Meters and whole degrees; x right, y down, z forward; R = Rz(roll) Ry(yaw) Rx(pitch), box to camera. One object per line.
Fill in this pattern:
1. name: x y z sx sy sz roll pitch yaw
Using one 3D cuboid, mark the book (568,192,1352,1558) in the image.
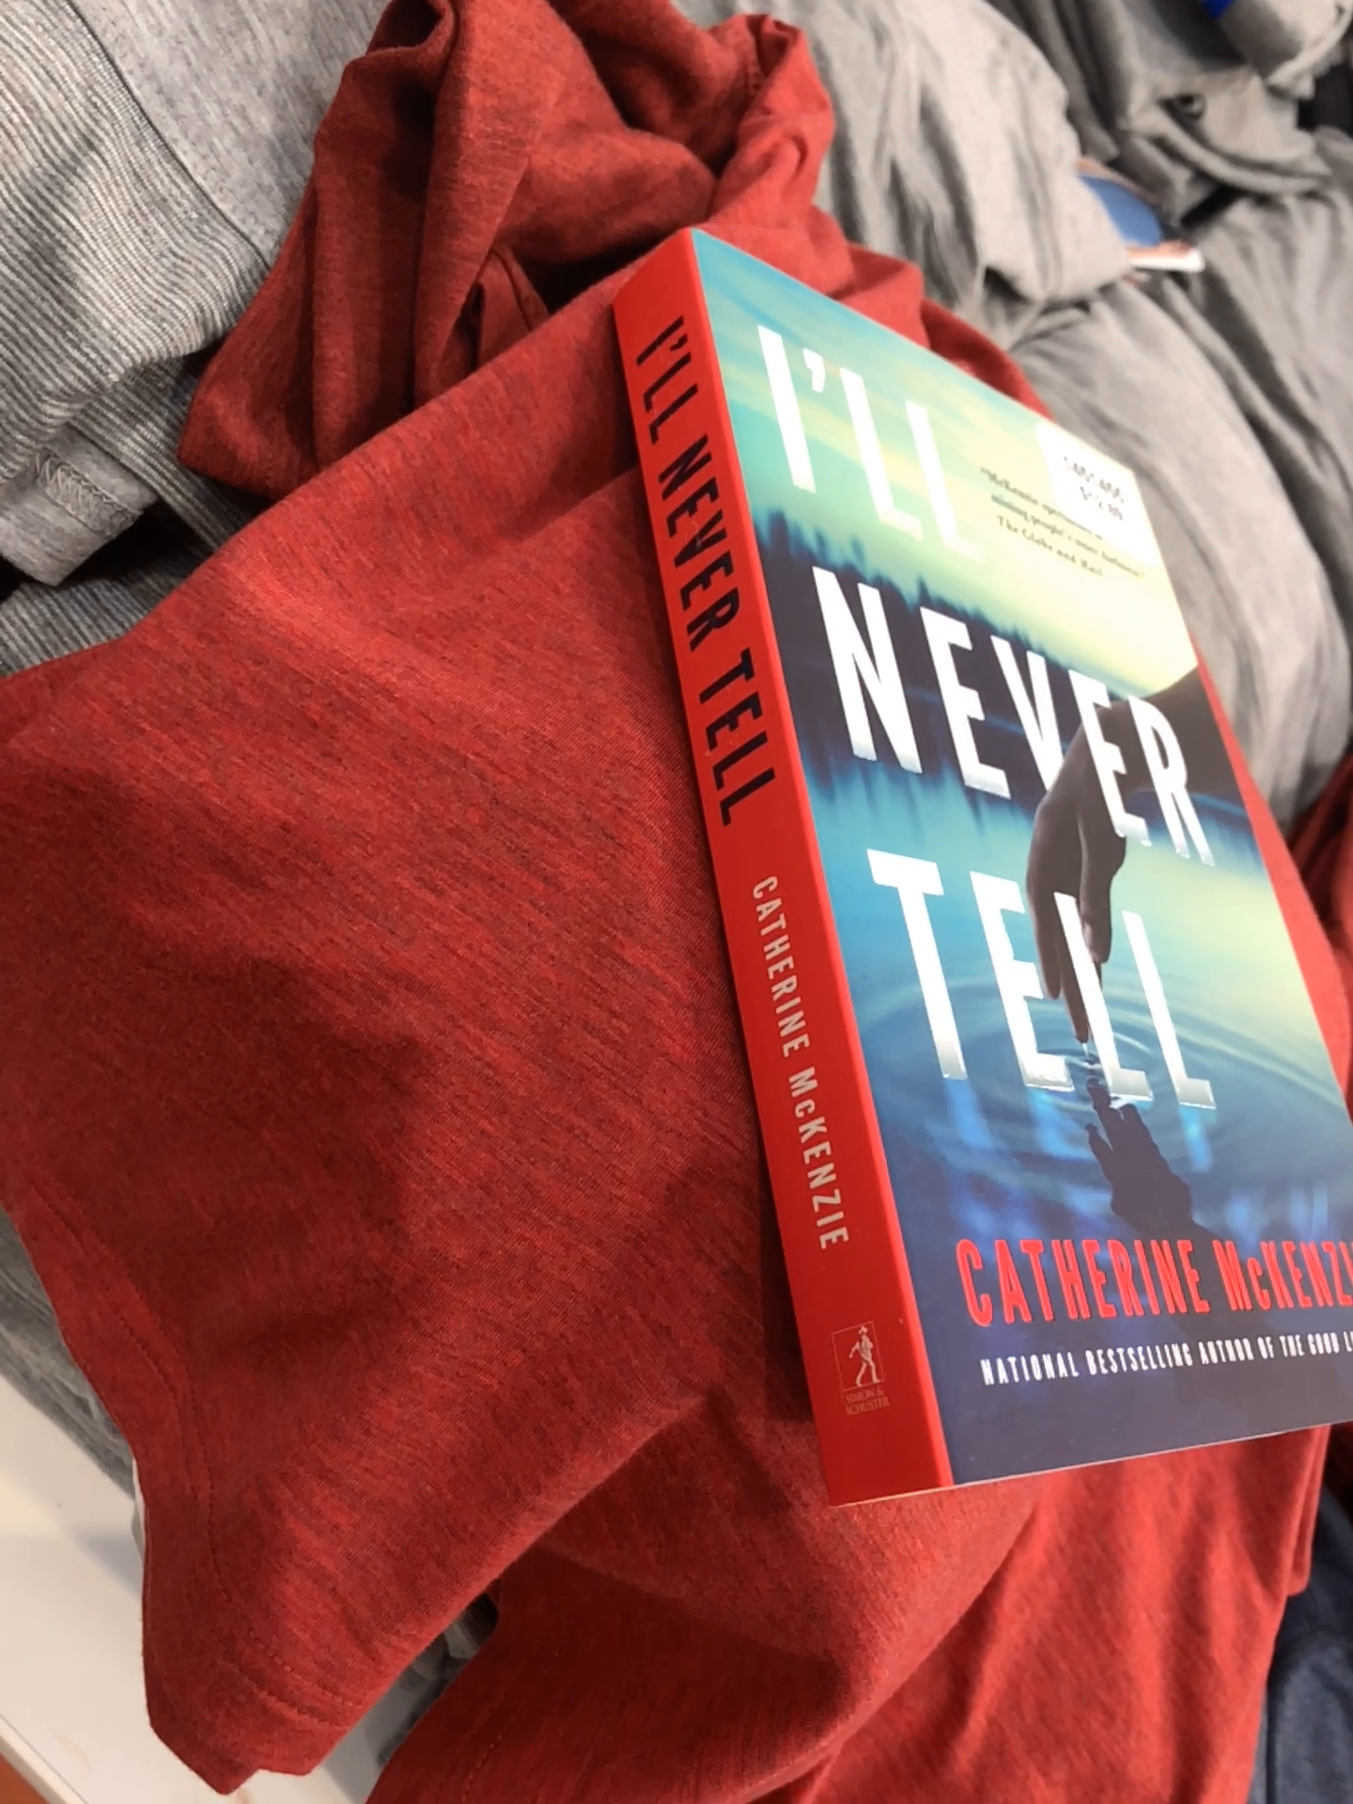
1. book: 0.062 -0.007 0.270 0.144 0.032 0.208 10 60 -40
